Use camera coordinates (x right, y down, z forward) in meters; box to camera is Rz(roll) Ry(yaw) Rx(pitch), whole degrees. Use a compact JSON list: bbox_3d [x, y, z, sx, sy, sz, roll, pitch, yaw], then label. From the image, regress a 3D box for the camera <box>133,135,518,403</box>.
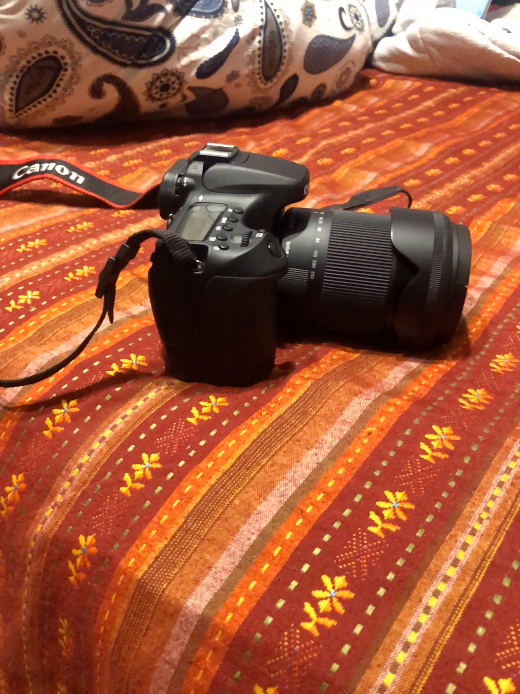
[{"bbox_3d":[0.033,-0.052,0.337,0.170,0.099,0.131,2,37,4],"label":"camera"}]
